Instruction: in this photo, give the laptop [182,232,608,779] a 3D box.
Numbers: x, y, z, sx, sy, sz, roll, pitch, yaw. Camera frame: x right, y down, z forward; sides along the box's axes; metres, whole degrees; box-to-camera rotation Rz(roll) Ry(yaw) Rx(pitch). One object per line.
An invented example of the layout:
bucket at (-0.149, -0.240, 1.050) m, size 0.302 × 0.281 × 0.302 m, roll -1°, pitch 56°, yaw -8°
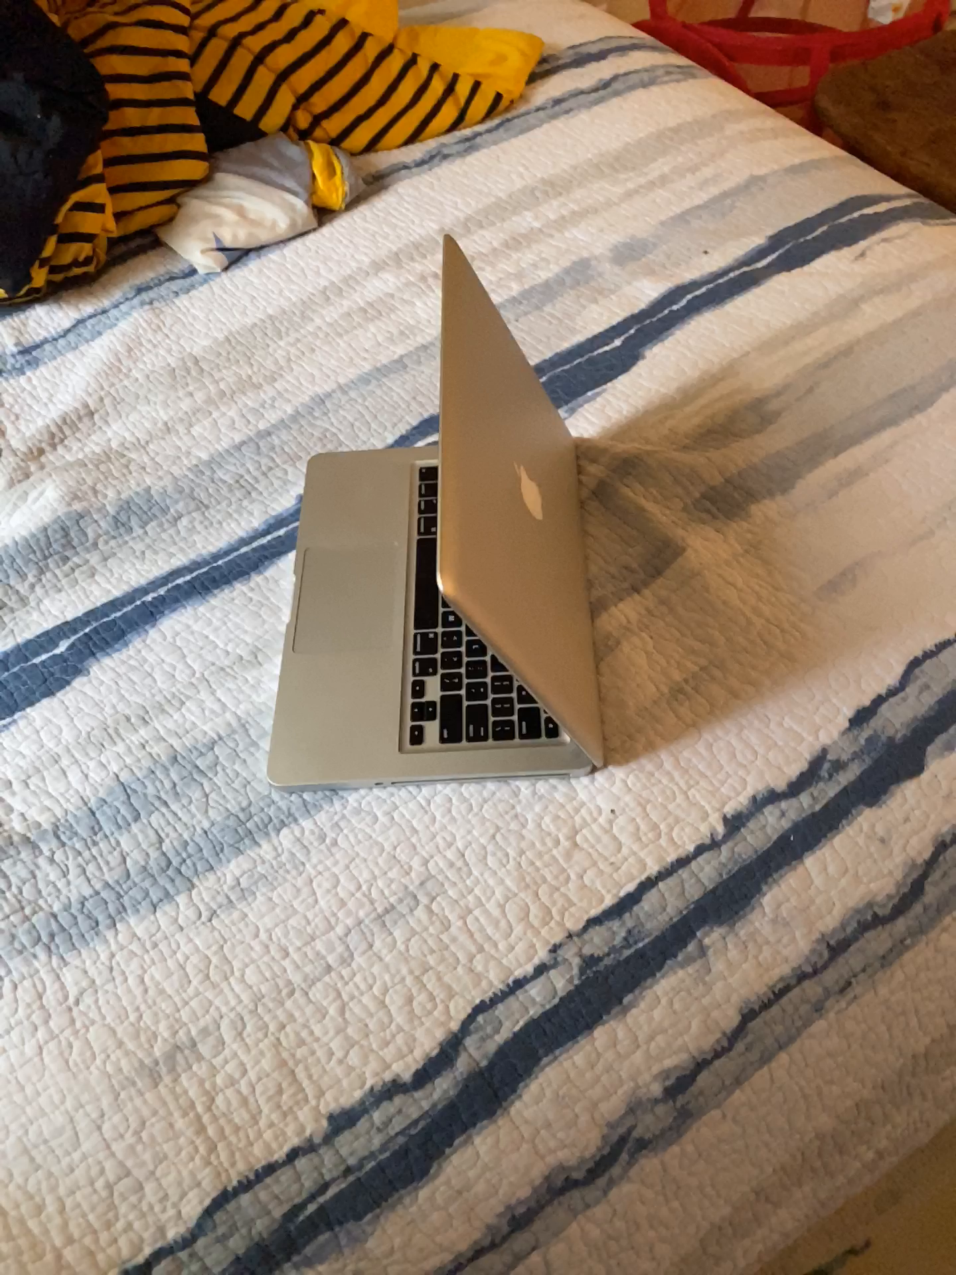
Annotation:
laptop at (-0.041, -0.092, 0.668) m, size 0.220 × 0.191 × 0.316 m, roll -3°, pitch 54°, yaw 4°
